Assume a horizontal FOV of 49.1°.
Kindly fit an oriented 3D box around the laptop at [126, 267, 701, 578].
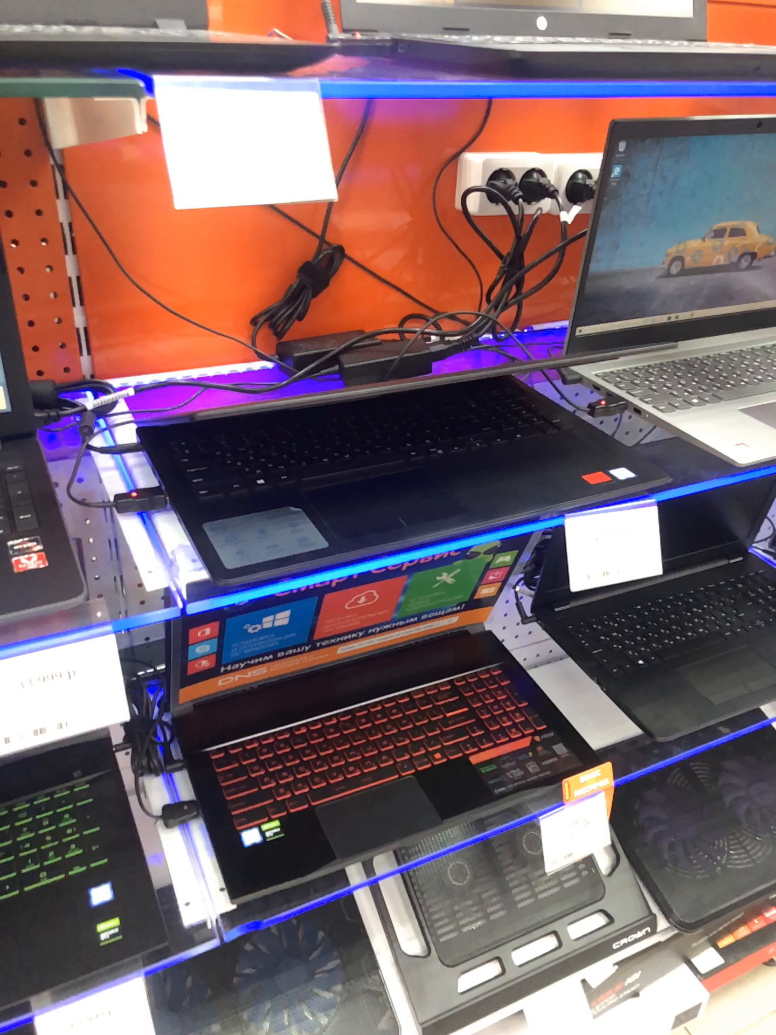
[{"bbox_3d":[0.010,-0.100,0.667,0.371,0.100,0.239,-13,33,-22],"label":"laptop"}]
